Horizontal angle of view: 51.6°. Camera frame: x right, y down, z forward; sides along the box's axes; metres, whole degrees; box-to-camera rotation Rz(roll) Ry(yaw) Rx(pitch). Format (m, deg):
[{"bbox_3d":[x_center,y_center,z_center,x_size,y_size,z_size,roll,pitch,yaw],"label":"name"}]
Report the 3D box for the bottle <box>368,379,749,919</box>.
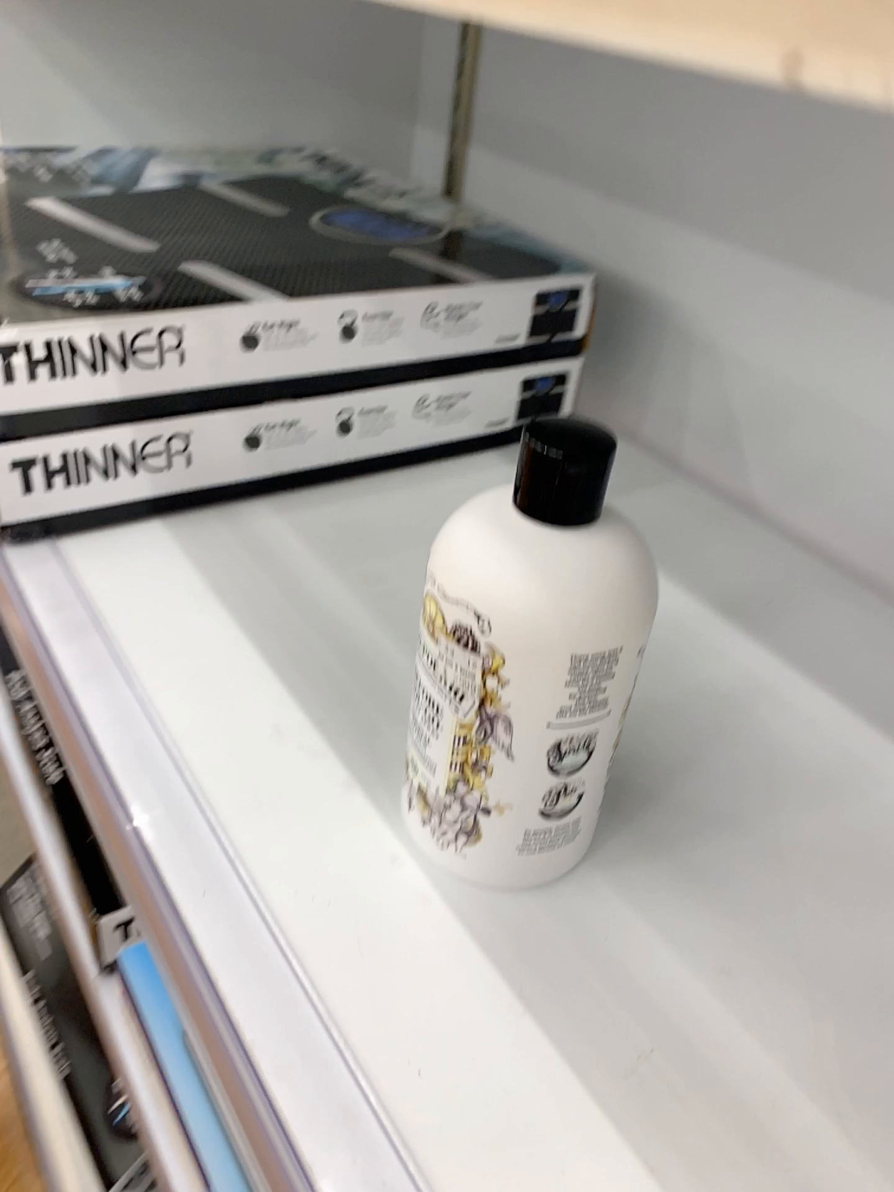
[{"bbox_3d":[0.026,0.018,0.304,0.070,0.153,0.073,5,35,-4],"label":"bottle"}]
